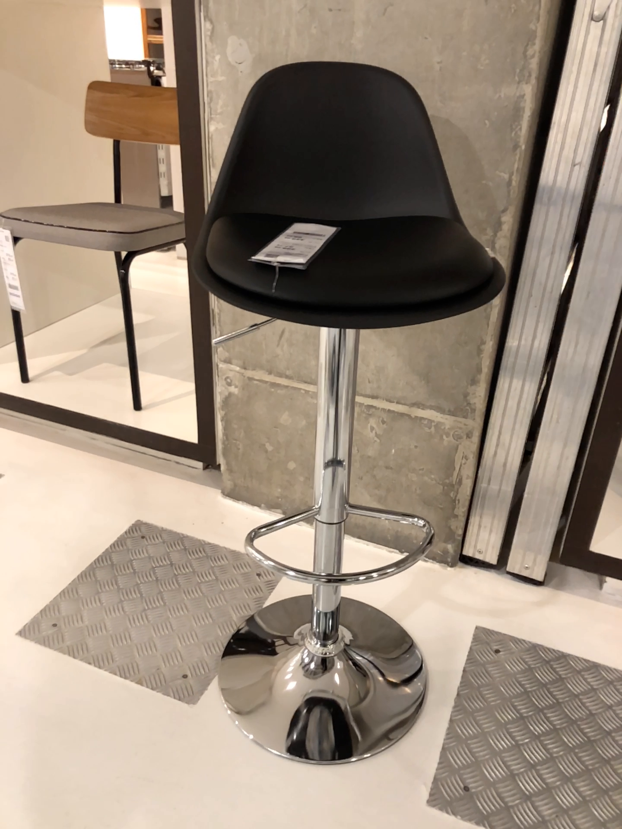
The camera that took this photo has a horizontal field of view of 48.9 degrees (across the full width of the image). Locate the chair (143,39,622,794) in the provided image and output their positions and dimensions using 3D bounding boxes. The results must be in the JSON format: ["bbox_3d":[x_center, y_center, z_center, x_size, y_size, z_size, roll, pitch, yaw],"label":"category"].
[{"bbox_3d":[0.058,0.021,1.031,0.430,1.012,0.474,3,28,0],"label":"chair"}]
